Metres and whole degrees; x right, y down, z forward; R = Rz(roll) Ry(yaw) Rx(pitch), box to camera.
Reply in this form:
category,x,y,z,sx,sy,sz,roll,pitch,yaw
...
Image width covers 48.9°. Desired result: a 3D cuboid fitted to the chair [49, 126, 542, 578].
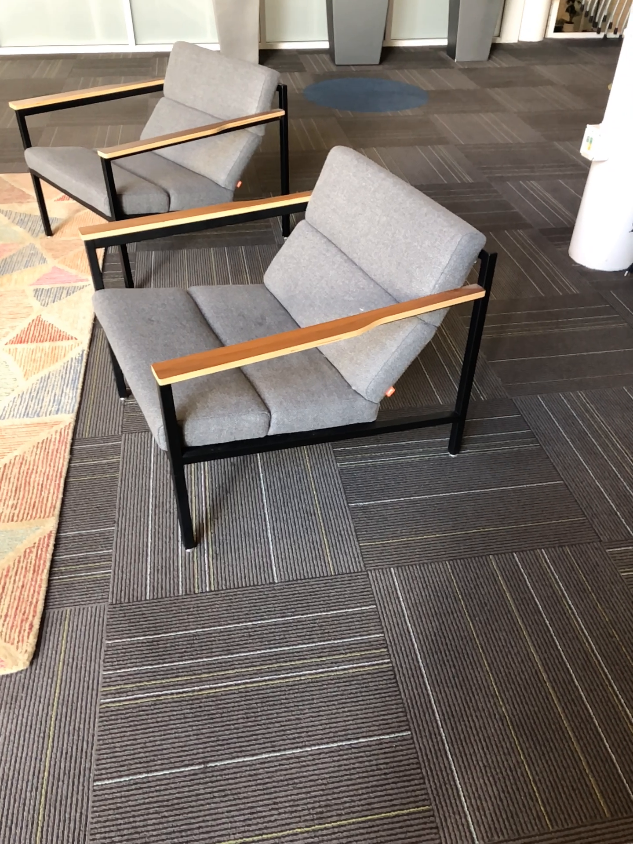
category,x,y,z,sx,sy,sz,roll,pitch,yaw
chair,-0.083,-0.259,1.882,0.921,0.696,0.793,-20,43,-21
